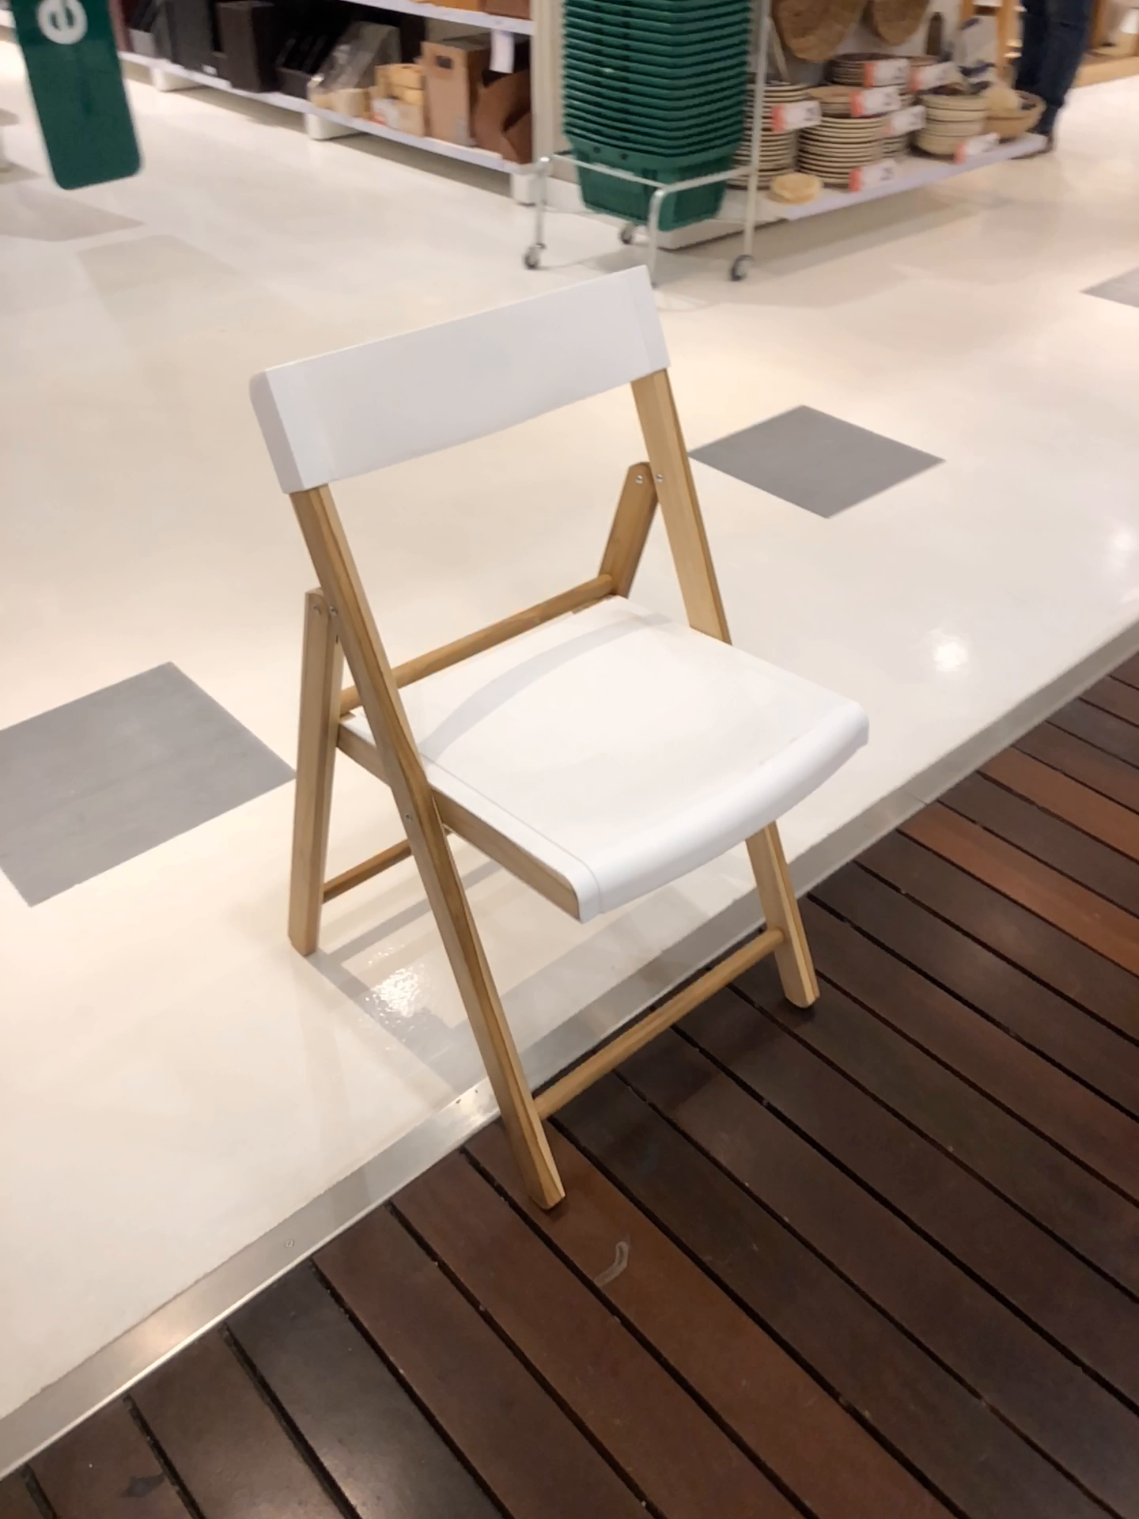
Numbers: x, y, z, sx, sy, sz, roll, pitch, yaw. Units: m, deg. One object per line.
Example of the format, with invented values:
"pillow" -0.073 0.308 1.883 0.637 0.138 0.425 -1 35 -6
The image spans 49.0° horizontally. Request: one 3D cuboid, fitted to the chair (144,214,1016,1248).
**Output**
"chair" -0.012 -0.042 1.222 0.472 0.734 0.512 -28 48 -31
